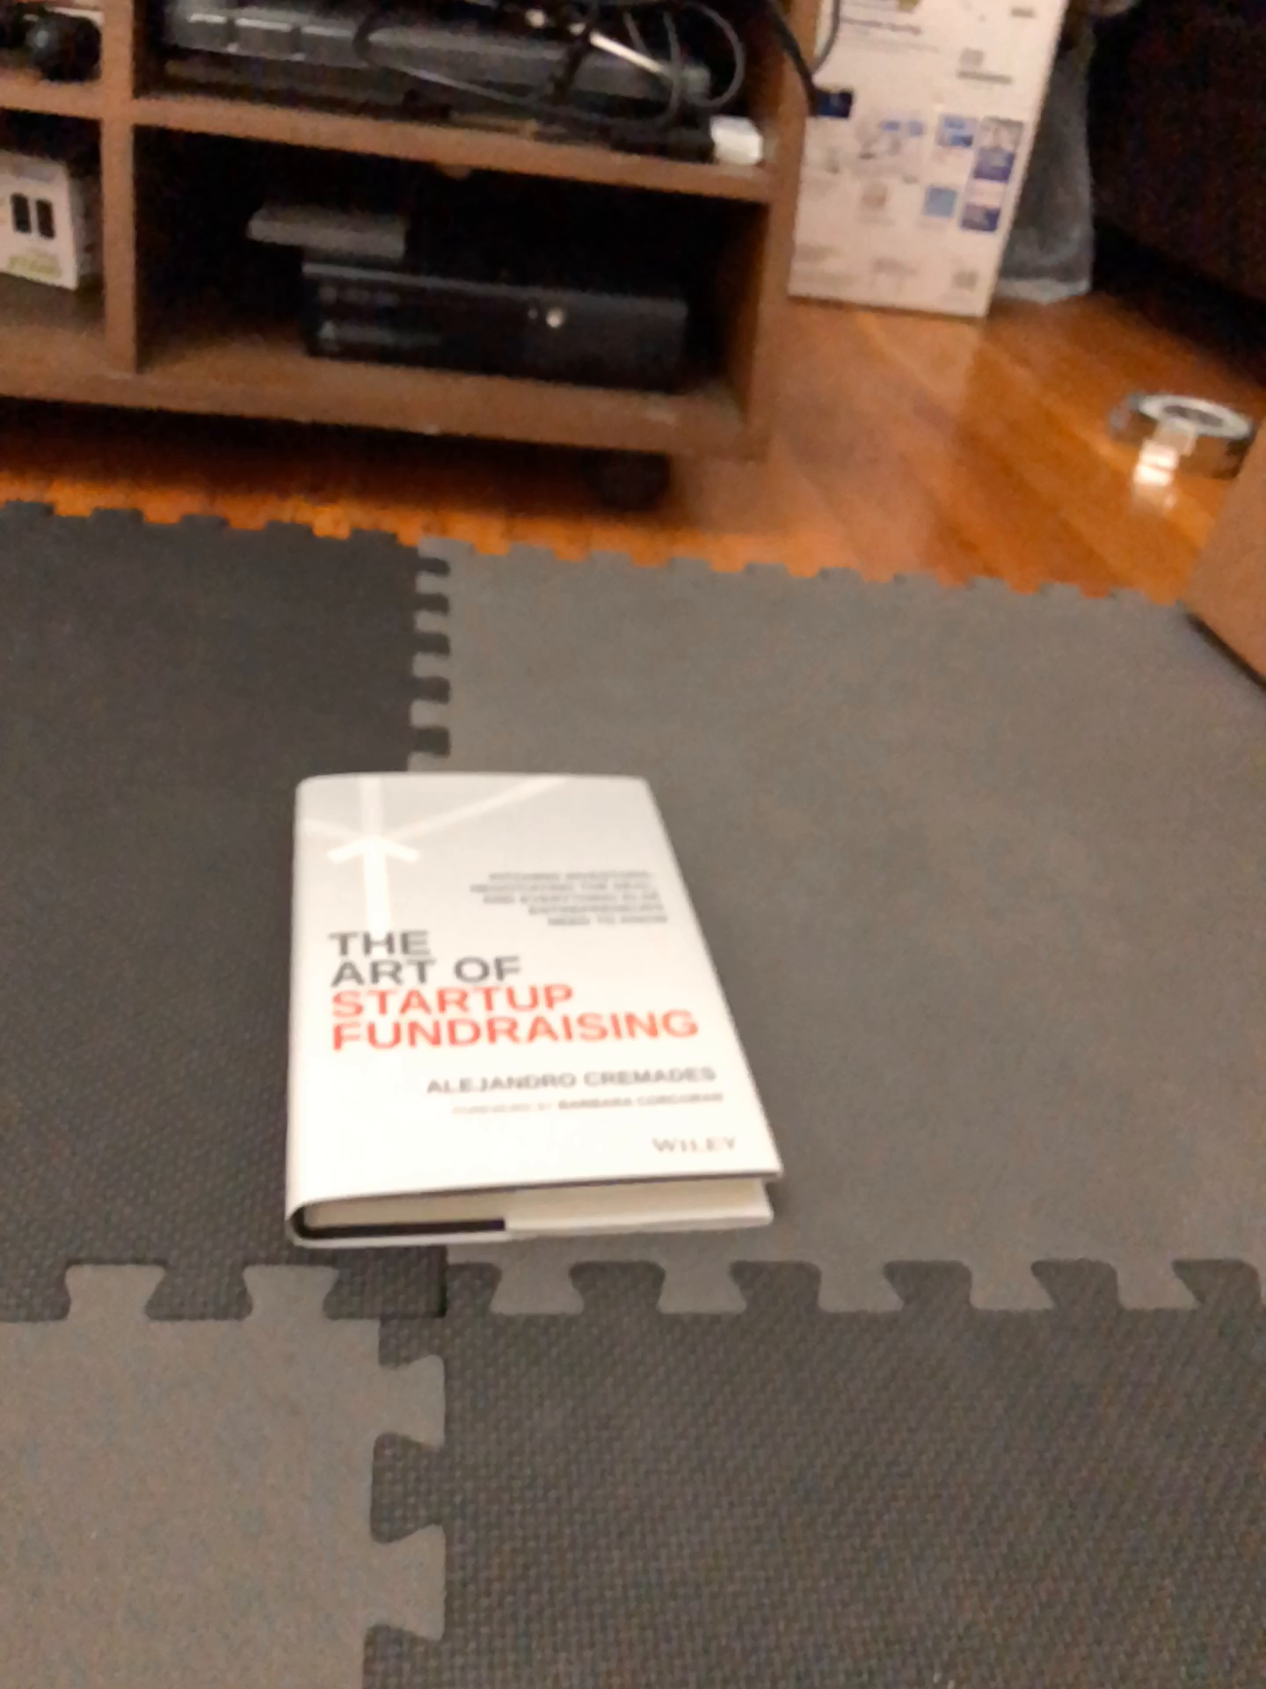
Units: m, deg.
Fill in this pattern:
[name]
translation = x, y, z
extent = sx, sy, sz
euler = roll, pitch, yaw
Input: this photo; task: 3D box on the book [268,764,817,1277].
[book]
translation = -0.046, 0.049, 0.544
extent = 0.170, 0.030, 0.251
euler = 1, 35, -12
